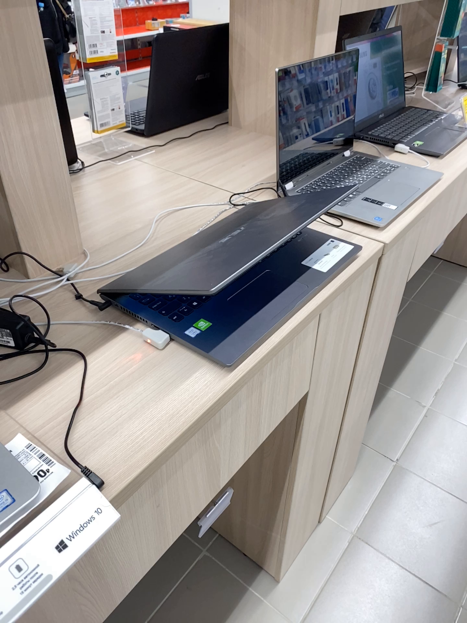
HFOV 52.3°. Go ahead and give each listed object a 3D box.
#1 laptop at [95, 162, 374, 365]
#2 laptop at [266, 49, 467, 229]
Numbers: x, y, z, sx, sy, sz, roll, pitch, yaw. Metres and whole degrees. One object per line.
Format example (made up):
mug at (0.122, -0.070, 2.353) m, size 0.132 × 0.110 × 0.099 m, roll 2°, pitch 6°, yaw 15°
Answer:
laptop at (0.017, -0.102, 0.703) m, size 0.230 × 0.097 × 0.355 m, roll 25°, pitch 43°, yaw 29°
laptop at (0.276, -0.372, 0.968) m, size 0.259 × 0.222 × 0.353 m, roll 25°, pitch 42°, yaw 28°
